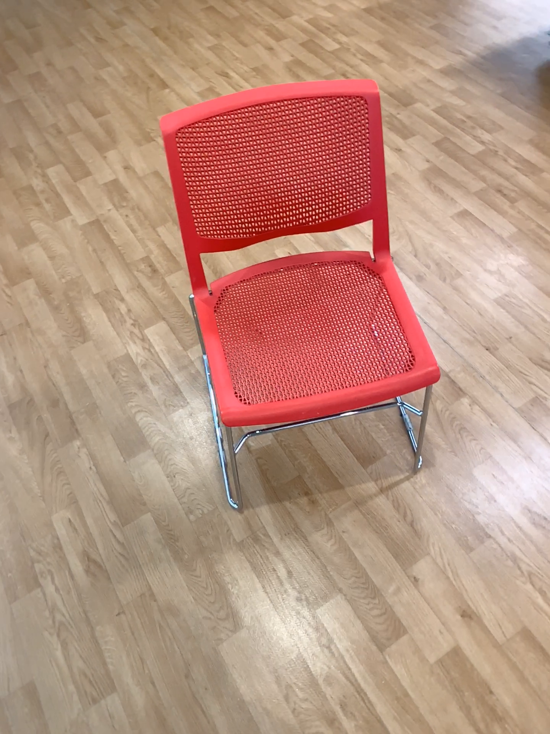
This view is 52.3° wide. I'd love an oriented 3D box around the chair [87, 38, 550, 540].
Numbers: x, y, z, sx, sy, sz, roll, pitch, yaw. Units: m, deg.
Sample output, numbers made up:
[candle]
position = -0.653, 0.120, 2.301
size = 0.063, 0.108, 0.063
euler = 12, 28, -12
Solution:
[chair]
position = 0.042, -0.117, 1.147
size = 0.600, 0.705, 0.594
euler = -13, 55, -5
